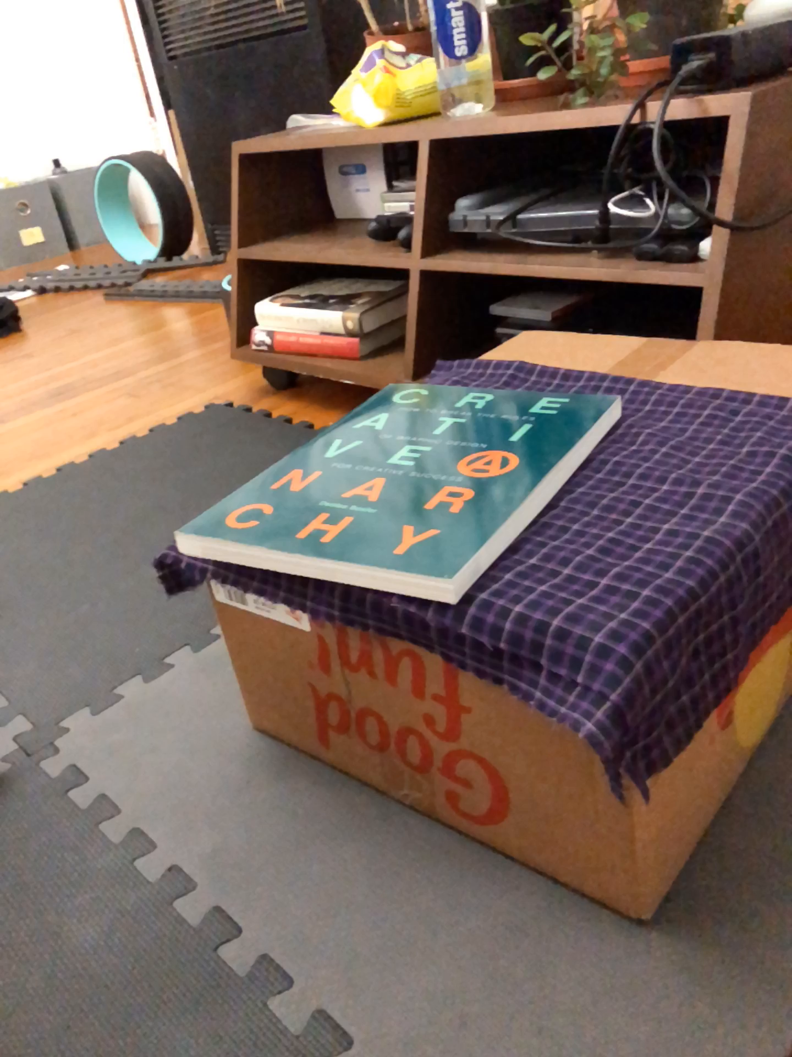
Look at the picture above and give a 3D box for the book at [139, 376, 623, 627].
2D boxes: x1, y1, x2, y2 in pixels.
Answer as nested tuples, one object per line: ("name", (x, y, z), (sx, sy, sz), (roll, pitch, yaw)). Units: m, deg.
("book", (0.005, -0.042, 0.618), (0.220, 0.020, 0.301), (8, 33, 31))
